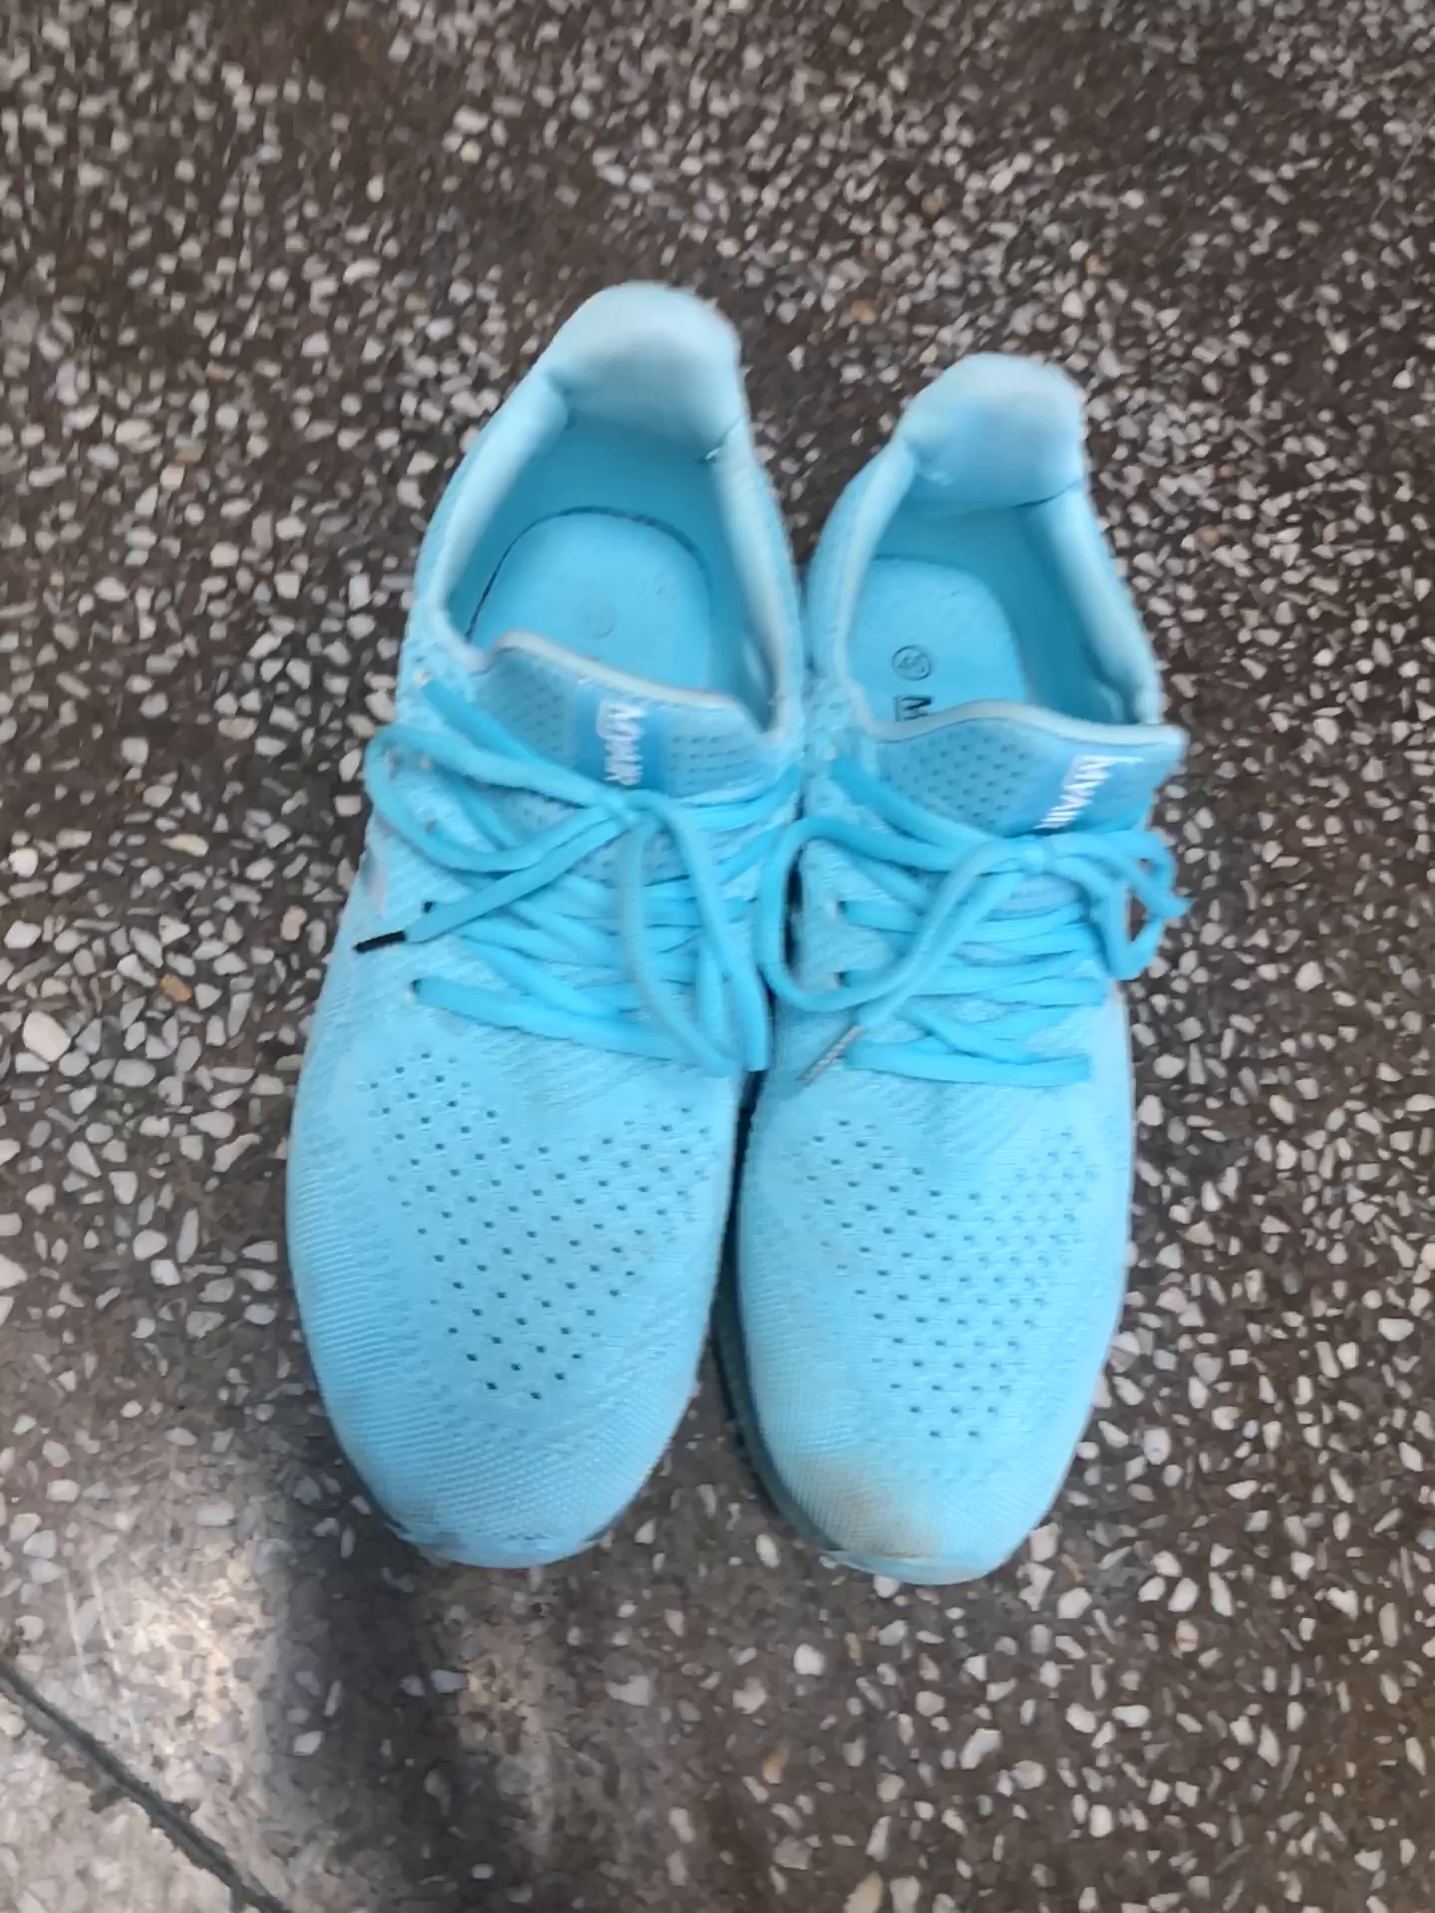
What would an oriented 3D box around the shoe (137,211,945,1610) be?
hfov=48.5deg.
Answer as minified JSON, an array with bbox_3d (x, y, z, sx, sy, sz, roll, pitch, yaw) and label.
[{"bbox_3d":[-0.031,-0.005,0.363,0.120,0.125,0.271,9,69,-8],"label":"shoe"}]

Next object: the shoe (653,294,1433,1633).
[{"bbox_3d":[0.064,0.006,0.377,0.120,0.125,0.271,7,69,-9],"label":"shoe"}]
